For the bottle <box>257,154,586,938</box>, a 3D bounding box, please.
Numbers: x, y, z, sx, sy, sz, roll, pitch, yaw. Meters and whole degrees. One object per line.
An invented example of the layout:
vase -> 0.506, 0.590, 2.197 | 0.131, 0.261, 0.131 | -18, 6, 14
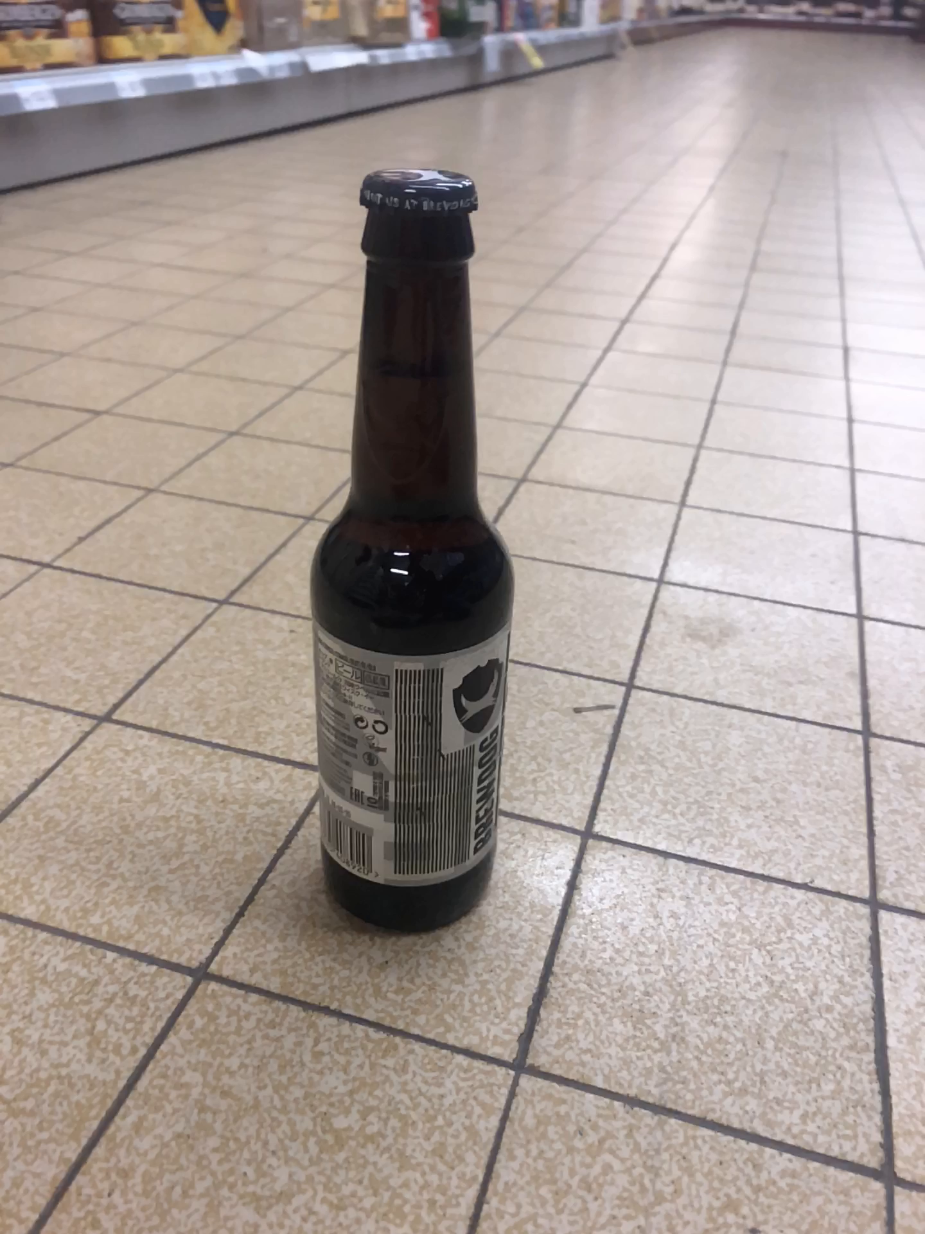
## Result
bottle -> -0.013, -0.011, 0.304 | 0.070, 0.222, 0.070 | 2, 31, -1
